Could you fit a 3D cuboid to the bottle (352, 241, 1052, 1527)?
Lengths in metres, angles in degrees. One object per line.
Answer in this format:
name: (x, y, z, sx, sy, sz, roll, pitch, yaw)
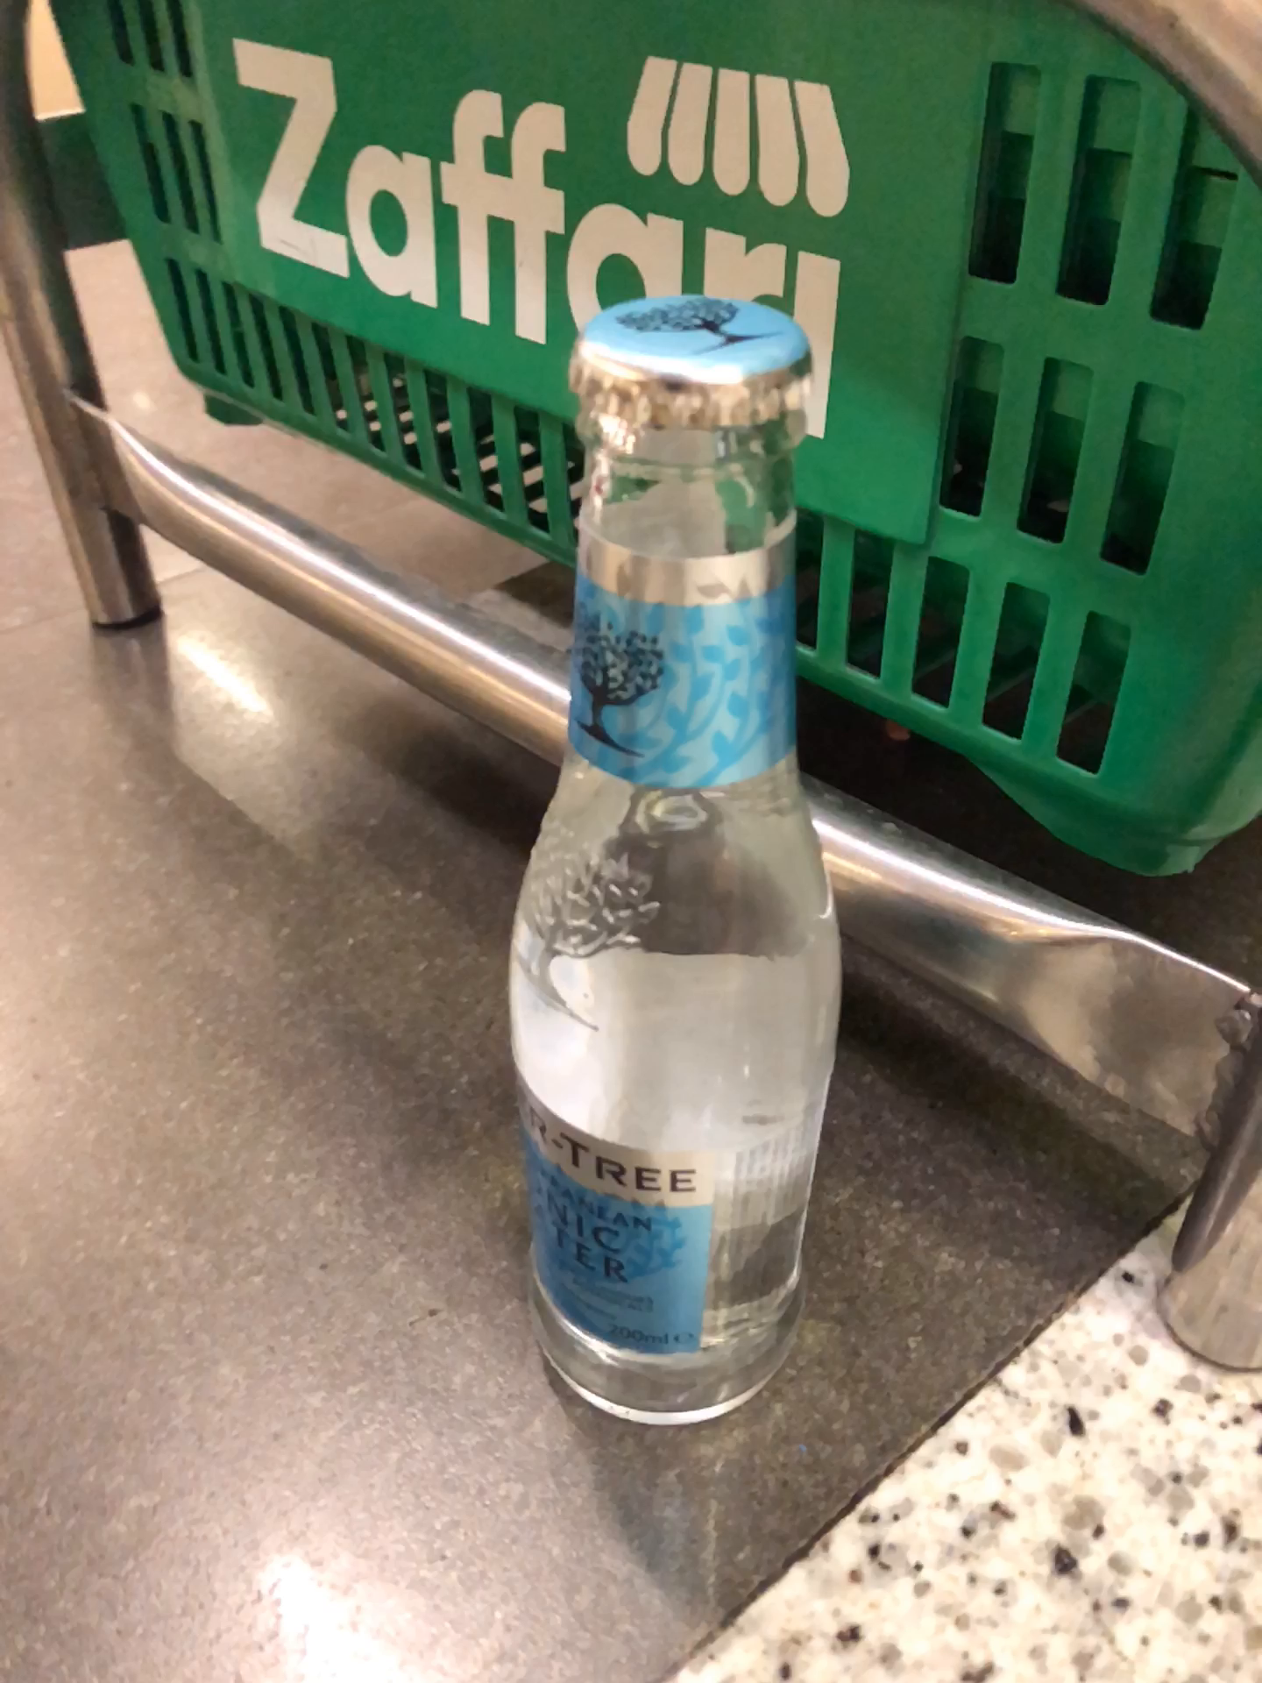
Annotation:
bottle: (0.008, 0.019, 0.214, 0.050, 0.189, 0.060, -31, 47, -33)
